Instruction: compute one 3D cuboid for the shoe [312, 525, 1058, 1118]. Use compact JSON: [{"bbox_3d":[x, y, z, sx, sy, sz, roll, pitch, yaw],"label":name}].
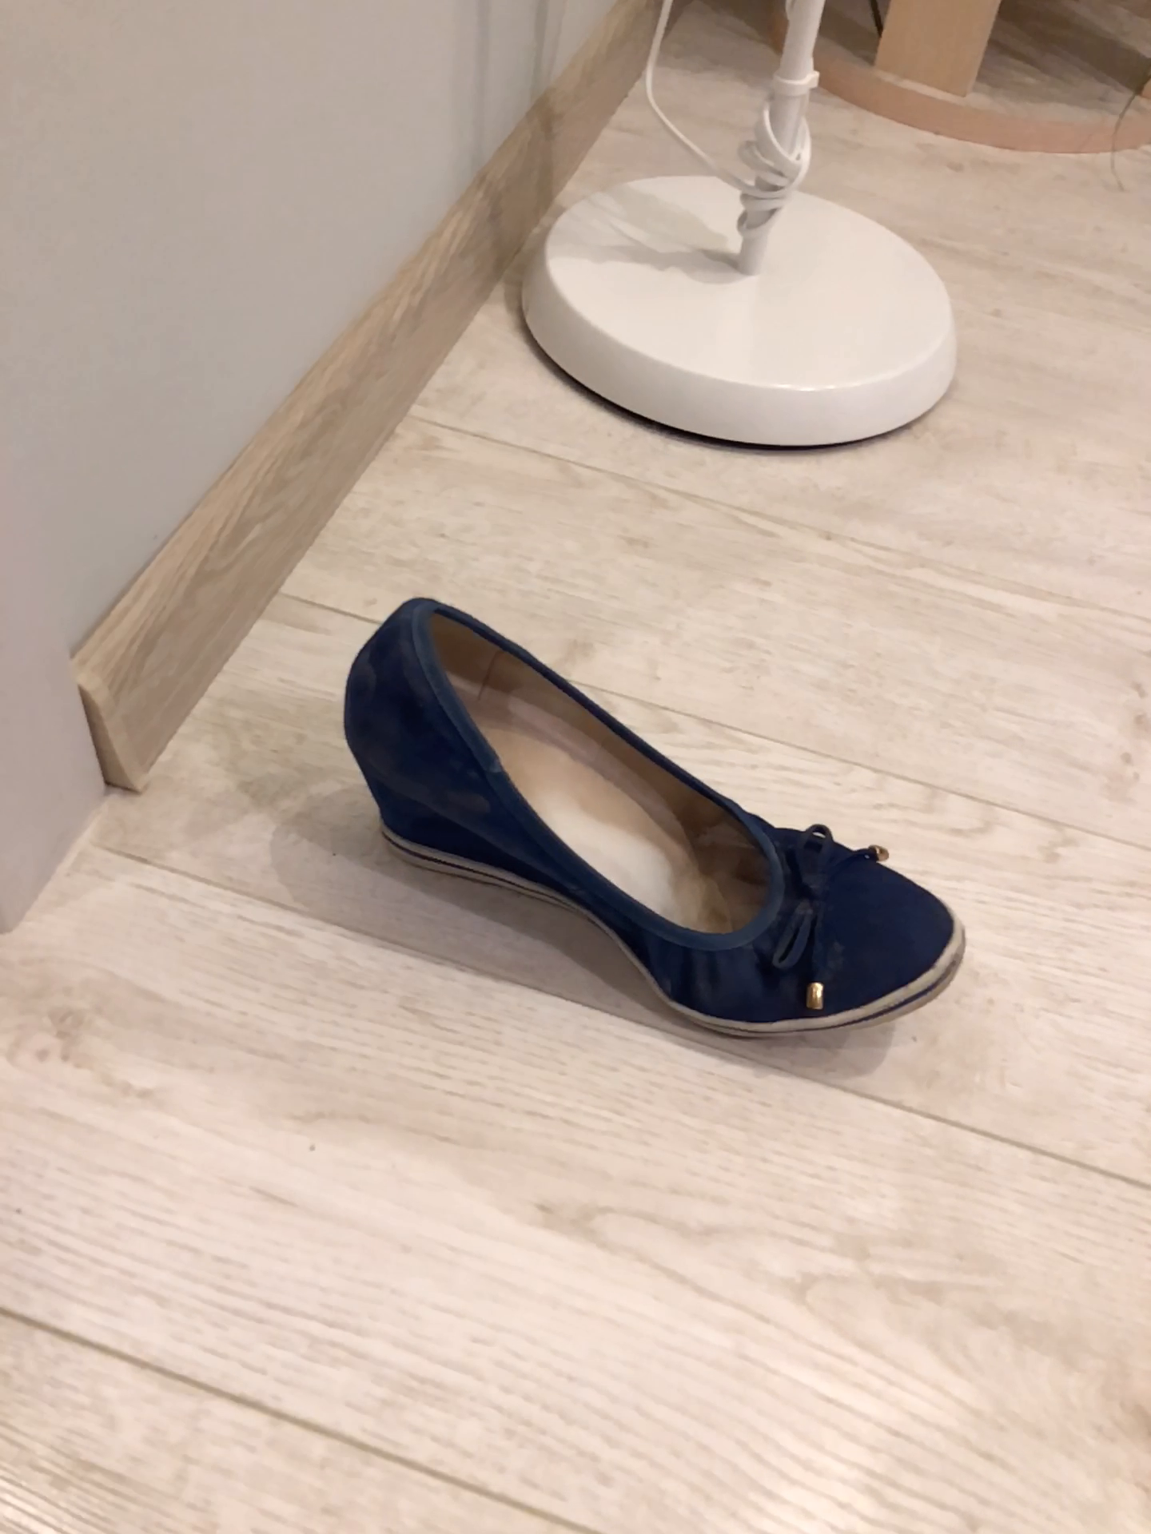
[{"bbox_3d":[0.034,0.017,0.455,0.230,0.109,0.099,19,49,9],"label":"shoe"}]
